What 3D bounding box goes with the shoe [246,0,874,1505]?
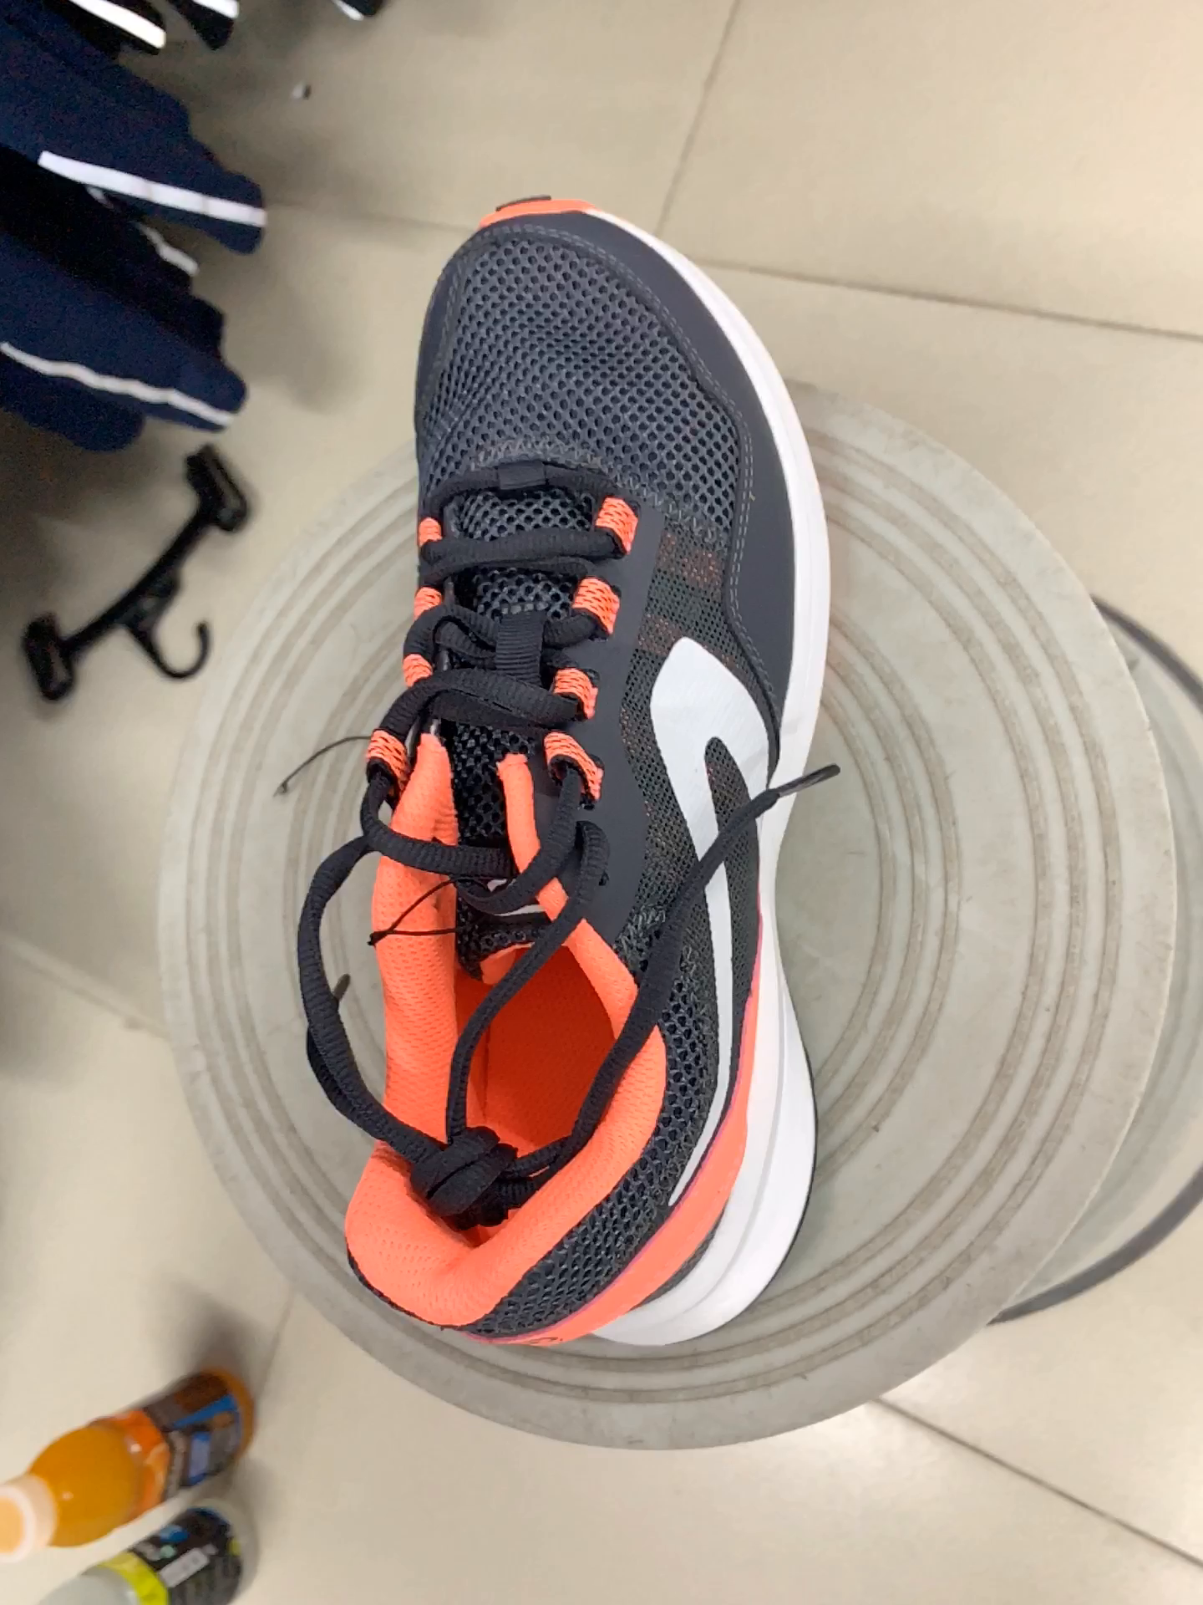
[{"bbox_3d":[-0.003,-0.018,0.297,0.100,0.120,0.290,-4,82,22],"label":"shoe"}]
